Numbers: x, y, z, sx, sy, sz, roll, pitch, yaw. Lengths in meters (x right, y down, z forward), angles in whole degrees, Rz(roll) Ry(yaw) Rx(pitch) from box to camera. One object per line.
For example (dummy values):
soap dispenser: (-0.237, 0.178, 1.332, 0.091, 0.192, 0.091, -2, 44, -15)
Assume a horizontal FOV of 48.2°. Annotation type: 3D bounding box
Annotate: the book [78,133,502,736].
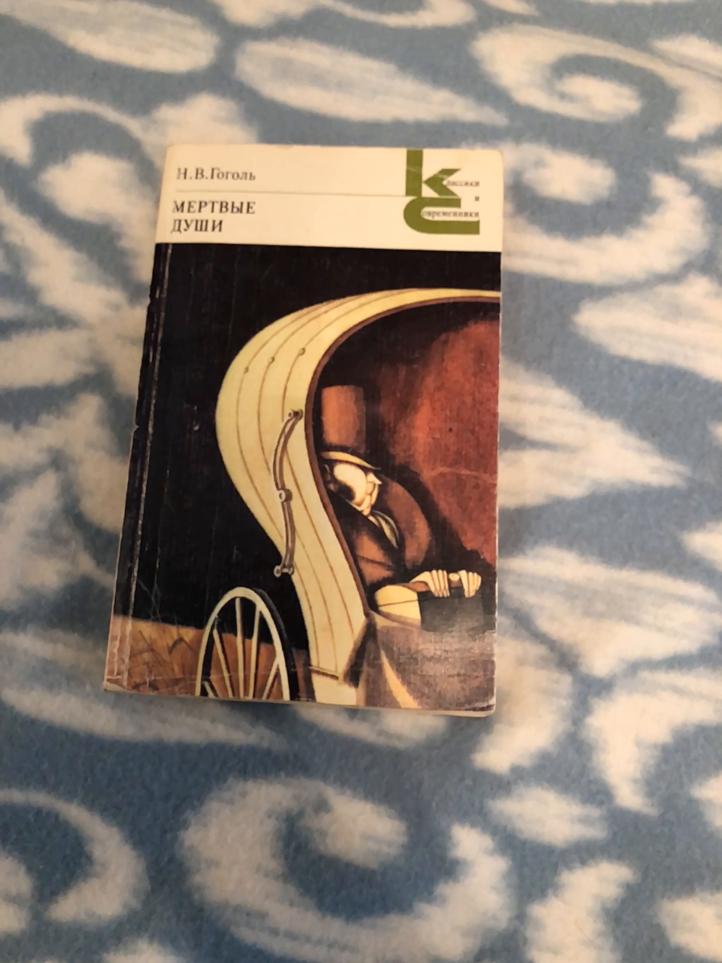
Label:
book: (-0.017, -0.022, 0.274, 0.125, 0.025, 0.199, 2, 77, 2)
